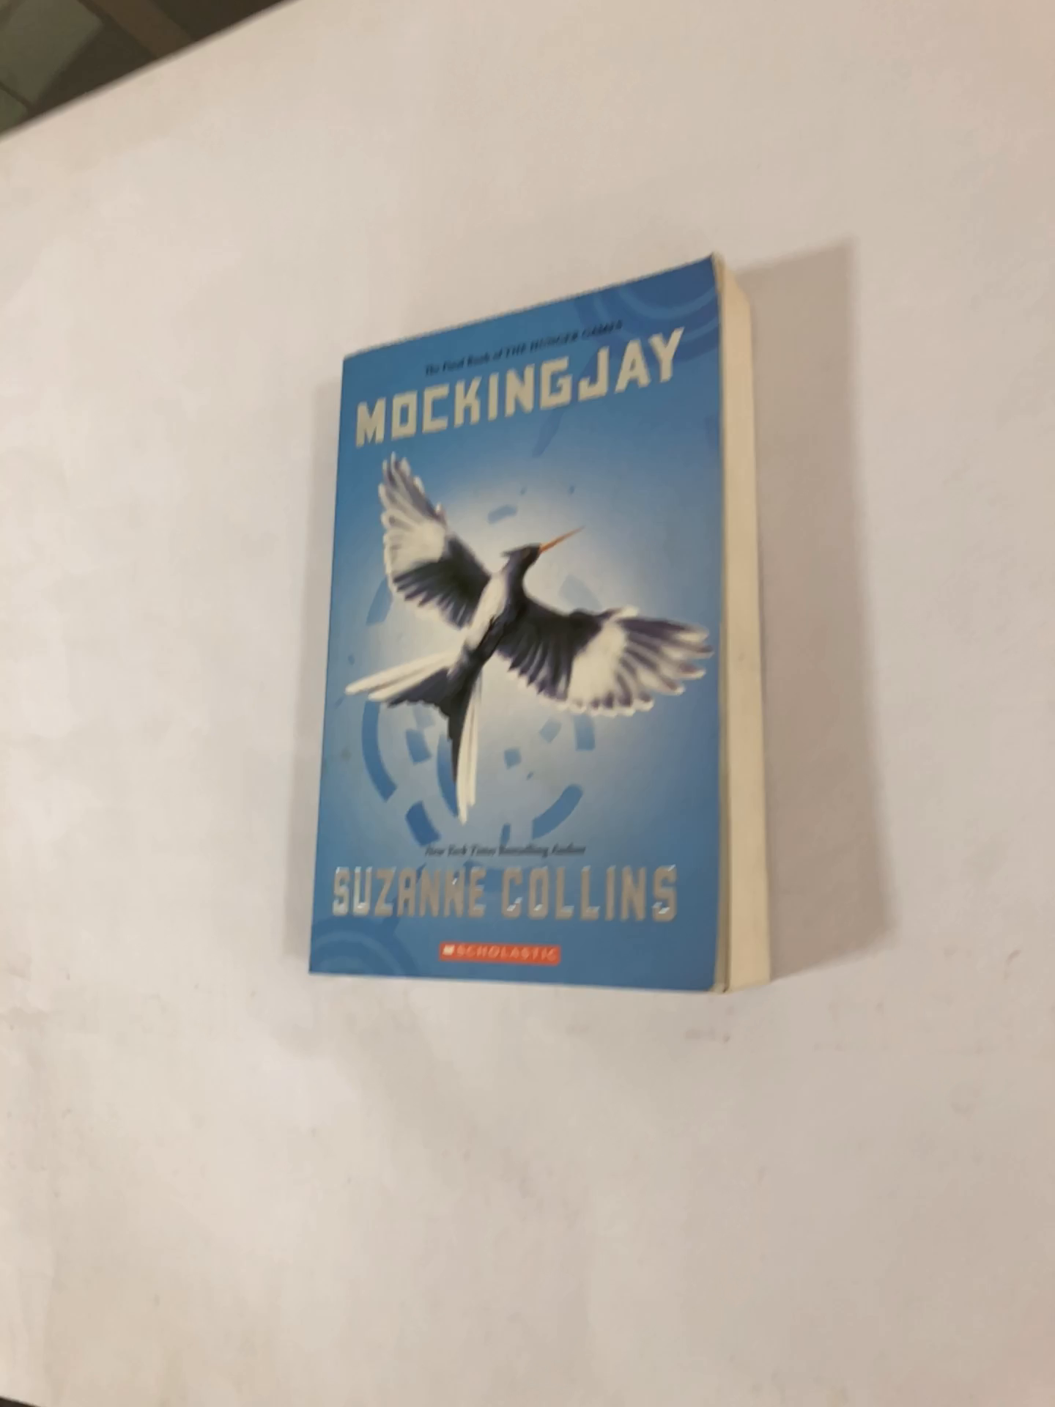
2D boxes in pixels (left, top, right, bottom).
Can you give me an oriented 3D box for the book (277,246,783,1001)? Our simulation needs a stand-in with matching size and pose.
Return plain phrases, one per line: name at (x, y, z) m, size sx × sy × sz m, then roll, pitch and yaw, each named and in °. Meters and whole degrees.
book at (-0.002, -0.017, 0.334) m, size 0.138 × 0.029 × 0.190 m, roll -5°, pitch 78°, yaw 28°
